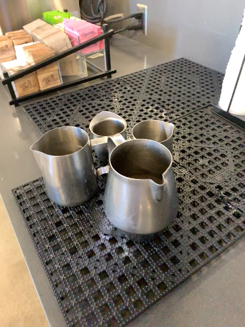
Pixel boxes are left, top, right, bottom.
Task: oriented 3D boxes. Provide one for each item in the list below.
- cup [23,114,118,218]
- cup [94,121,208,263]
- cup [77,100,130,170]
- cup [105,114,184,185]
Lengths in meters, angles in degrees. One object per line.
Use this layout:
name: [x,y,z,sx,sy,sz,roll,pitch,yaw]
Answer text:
cup: [-0.081,0.003,0.417,0.120,0.119,0.080,-17,43,-15]
cup: [0.030,0.035,0.366,0.100,0.119,0.141,-14,43,-12]
cup: [-0.037,-0.057,0.476,0.070,0.070,0.111,-13,43,-12]
cup: [0.036,-0.027,0.438,0.110,0.070,0.070,-16,43,-15]
